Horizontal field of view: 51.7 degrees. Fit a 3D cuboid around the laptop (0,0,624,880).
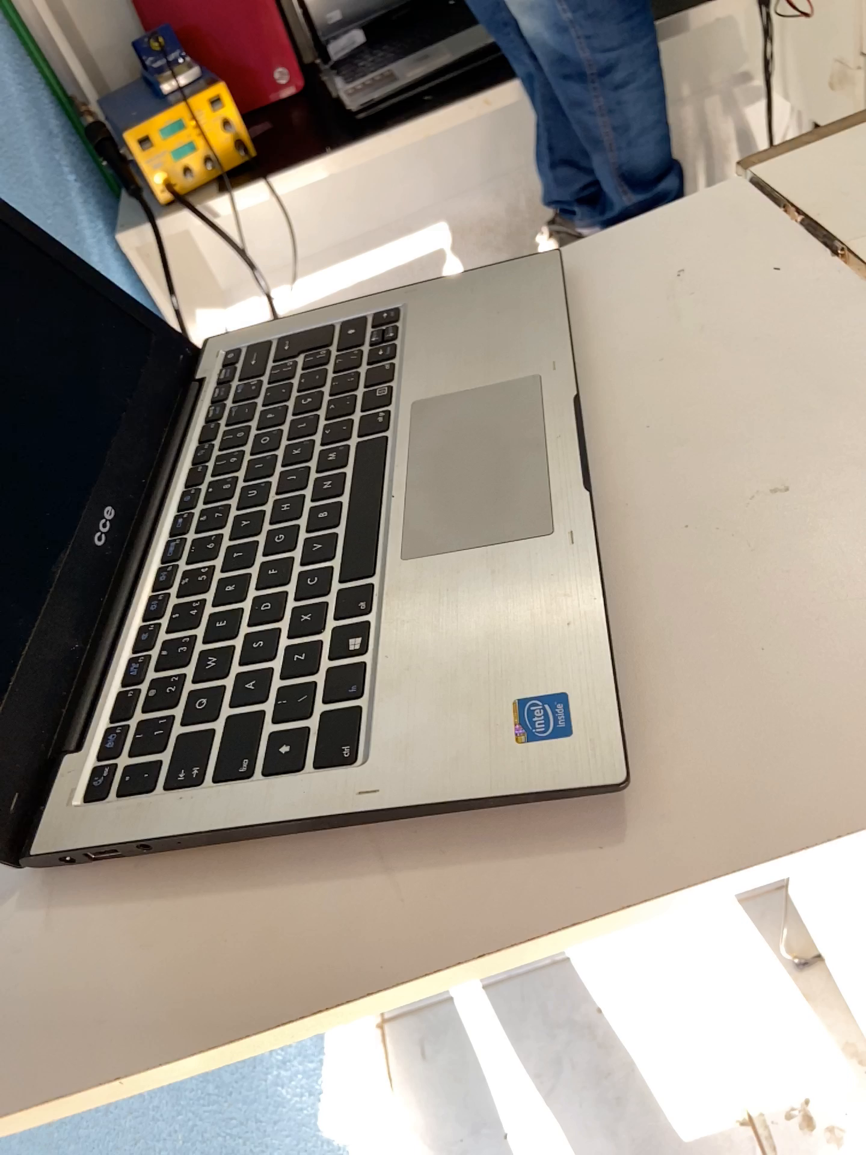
[{"bbox_3d":[-0.111,-0.086,0.345,0.303,0.181,0.314,-11,46,14],"label":"laptop"}]
